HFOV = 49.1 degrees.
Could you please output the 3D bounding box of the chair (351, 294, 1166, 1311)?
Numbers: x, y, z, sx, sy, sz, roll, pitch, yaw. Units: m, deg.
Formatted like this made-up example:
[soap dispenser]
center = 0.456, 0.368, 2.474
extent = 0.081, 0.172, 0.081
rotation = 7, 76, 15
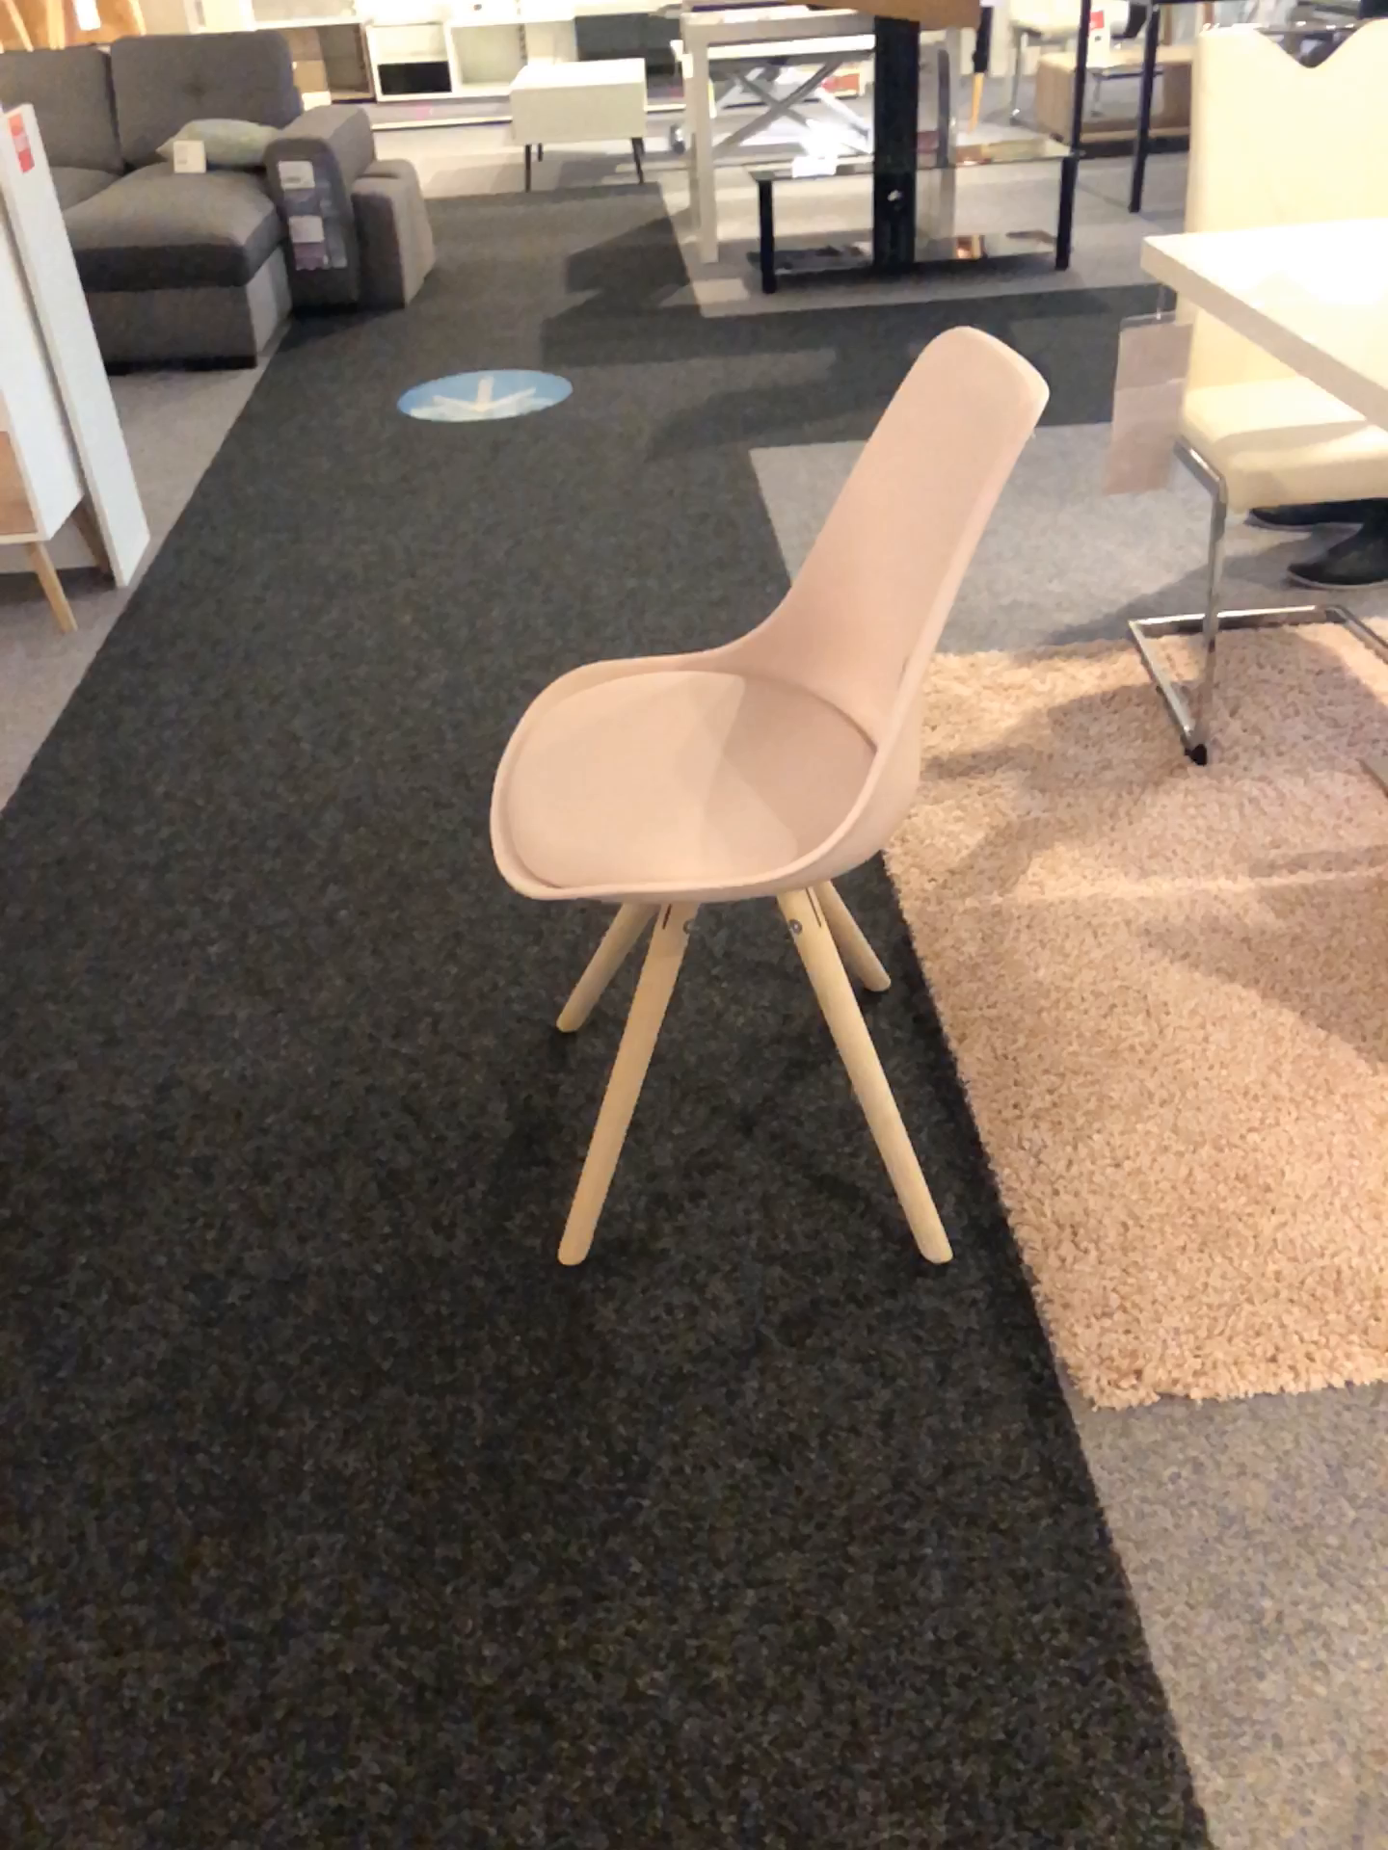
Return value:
[chair]
center = 0.047, -0.132, 1.487
extent = 0.560, 0.766, 0.573
rotation = -5, 34, -2
